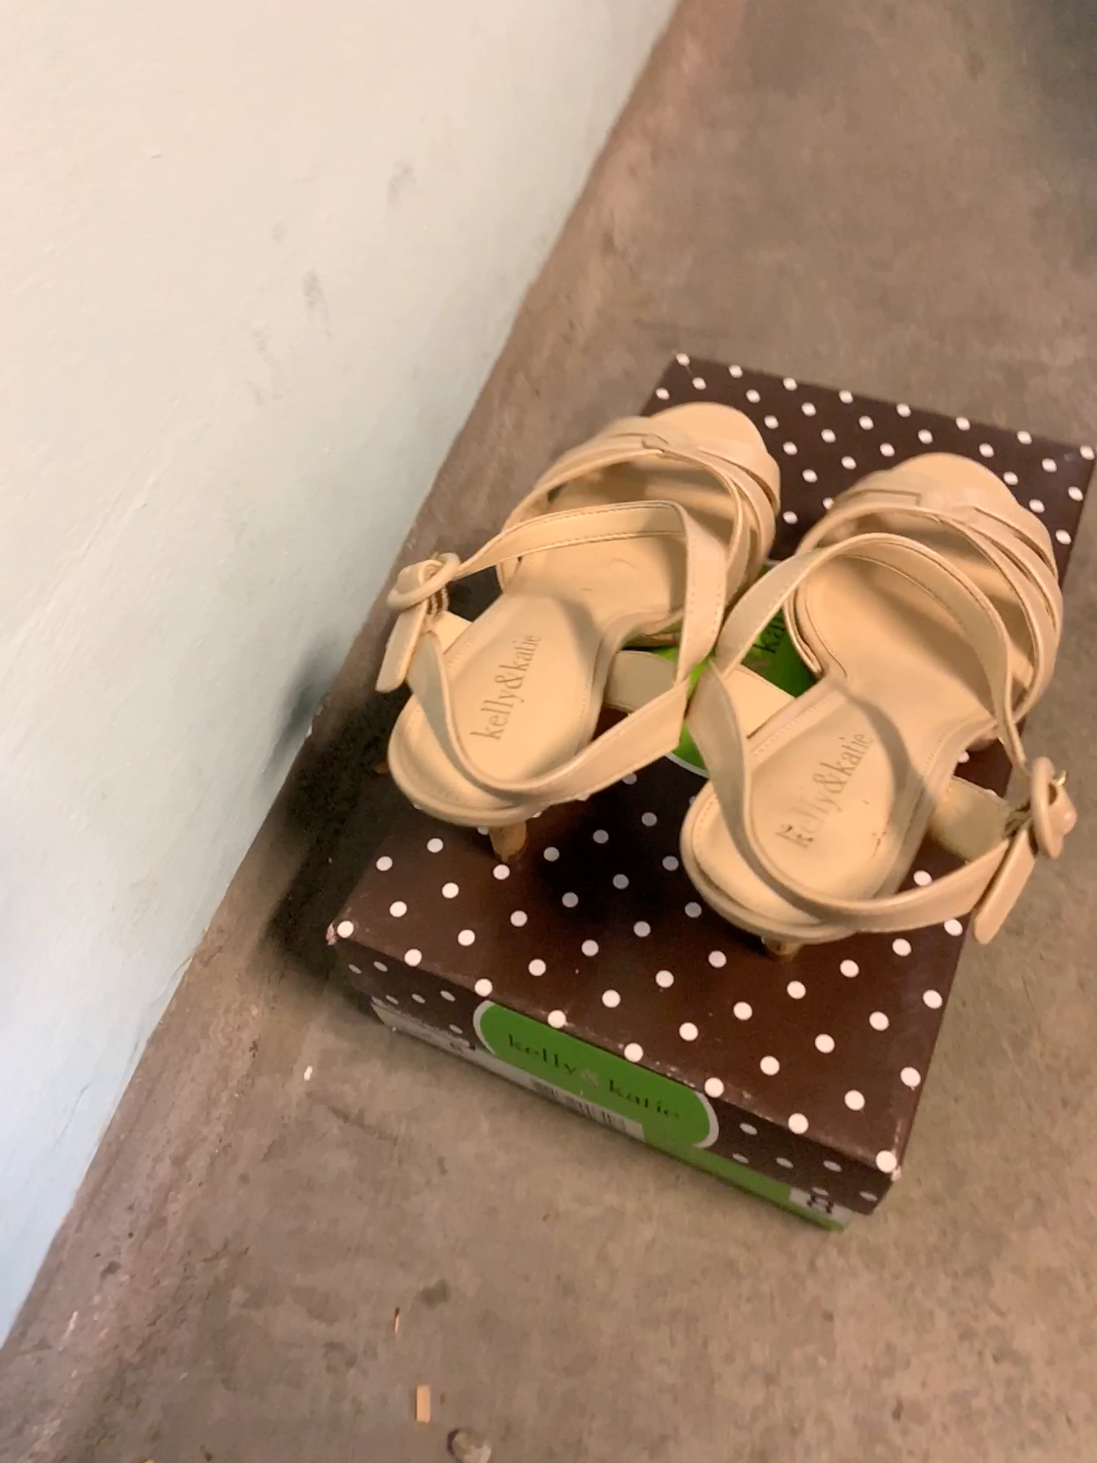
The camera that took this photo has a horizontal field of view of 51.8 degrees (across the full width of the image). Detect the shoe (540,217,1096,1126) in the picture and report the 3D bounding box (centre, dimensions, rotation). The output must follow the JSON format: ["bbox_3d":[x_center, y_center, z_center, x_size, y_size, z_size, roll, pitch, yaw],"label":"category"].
[{"bbox_3d":[0.101,-0.030,0.340,0.100,0.109,0.242,19,59,19],"label":"shoe"}]

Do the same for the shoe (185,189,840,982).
[{"bbox_3d":[0.007,-0.060,0.383,0.100,0.109,0.242,19,59,19],"label":"shoe"}]
